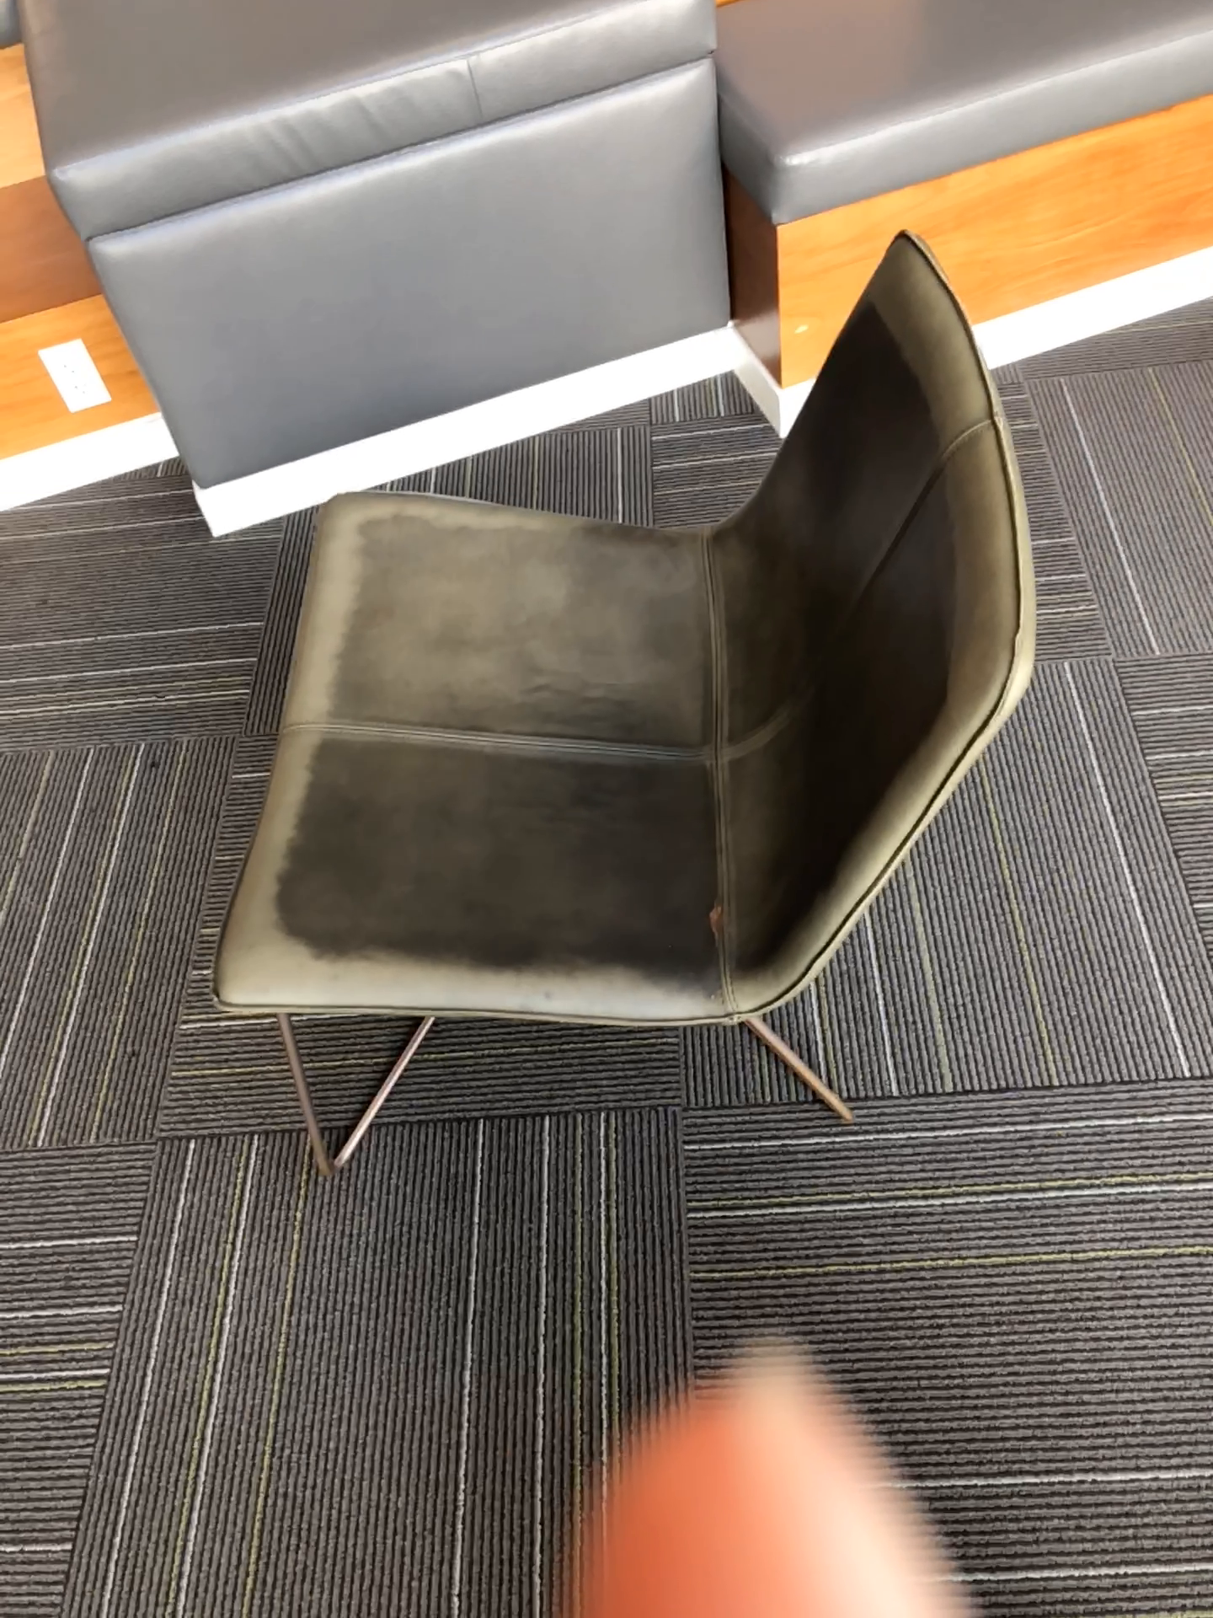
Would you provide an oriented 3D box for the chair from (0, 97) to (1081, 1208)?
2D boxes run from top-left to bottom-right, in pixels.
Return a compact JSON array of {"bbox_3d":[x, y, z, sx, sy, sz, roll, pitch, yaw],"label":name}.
[{"bbox_3d":[-0.044,-0.097,1.330,0.650,0.877,0.672,0,52,1],"label":"chair"}]
